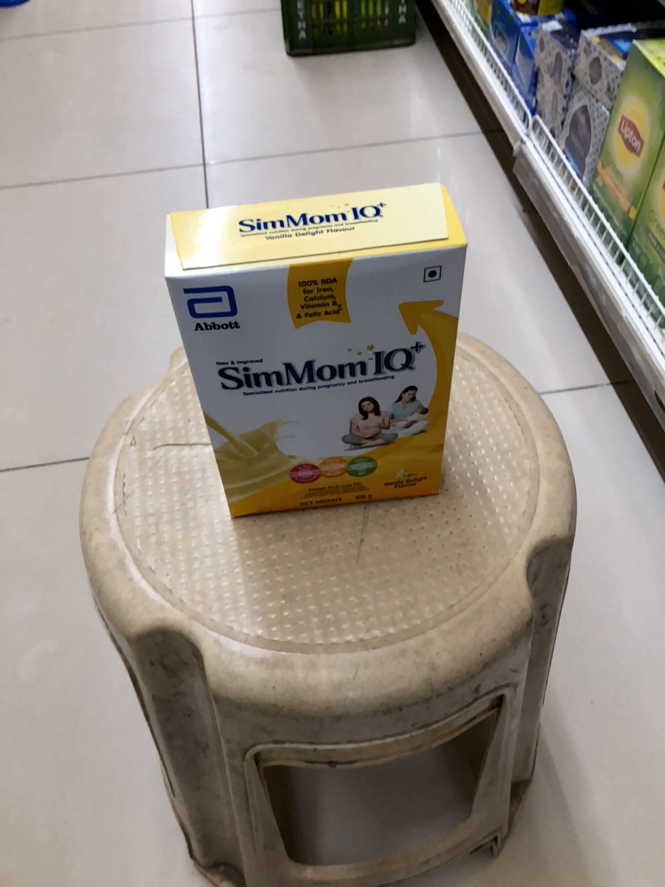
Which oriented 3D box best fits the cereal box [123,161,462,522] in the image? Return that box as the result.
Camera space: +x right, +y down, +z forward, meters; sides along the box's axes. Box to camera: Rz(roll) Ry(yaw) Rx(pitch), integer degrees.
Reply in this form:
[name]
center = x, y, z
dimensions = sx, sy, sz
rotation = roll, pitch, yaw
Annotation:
[cereal box]
center = -0.014, -0.040, 0.395
dimensions = 0.140, 0.199, 0.050
rotation = -6, 52, -2
